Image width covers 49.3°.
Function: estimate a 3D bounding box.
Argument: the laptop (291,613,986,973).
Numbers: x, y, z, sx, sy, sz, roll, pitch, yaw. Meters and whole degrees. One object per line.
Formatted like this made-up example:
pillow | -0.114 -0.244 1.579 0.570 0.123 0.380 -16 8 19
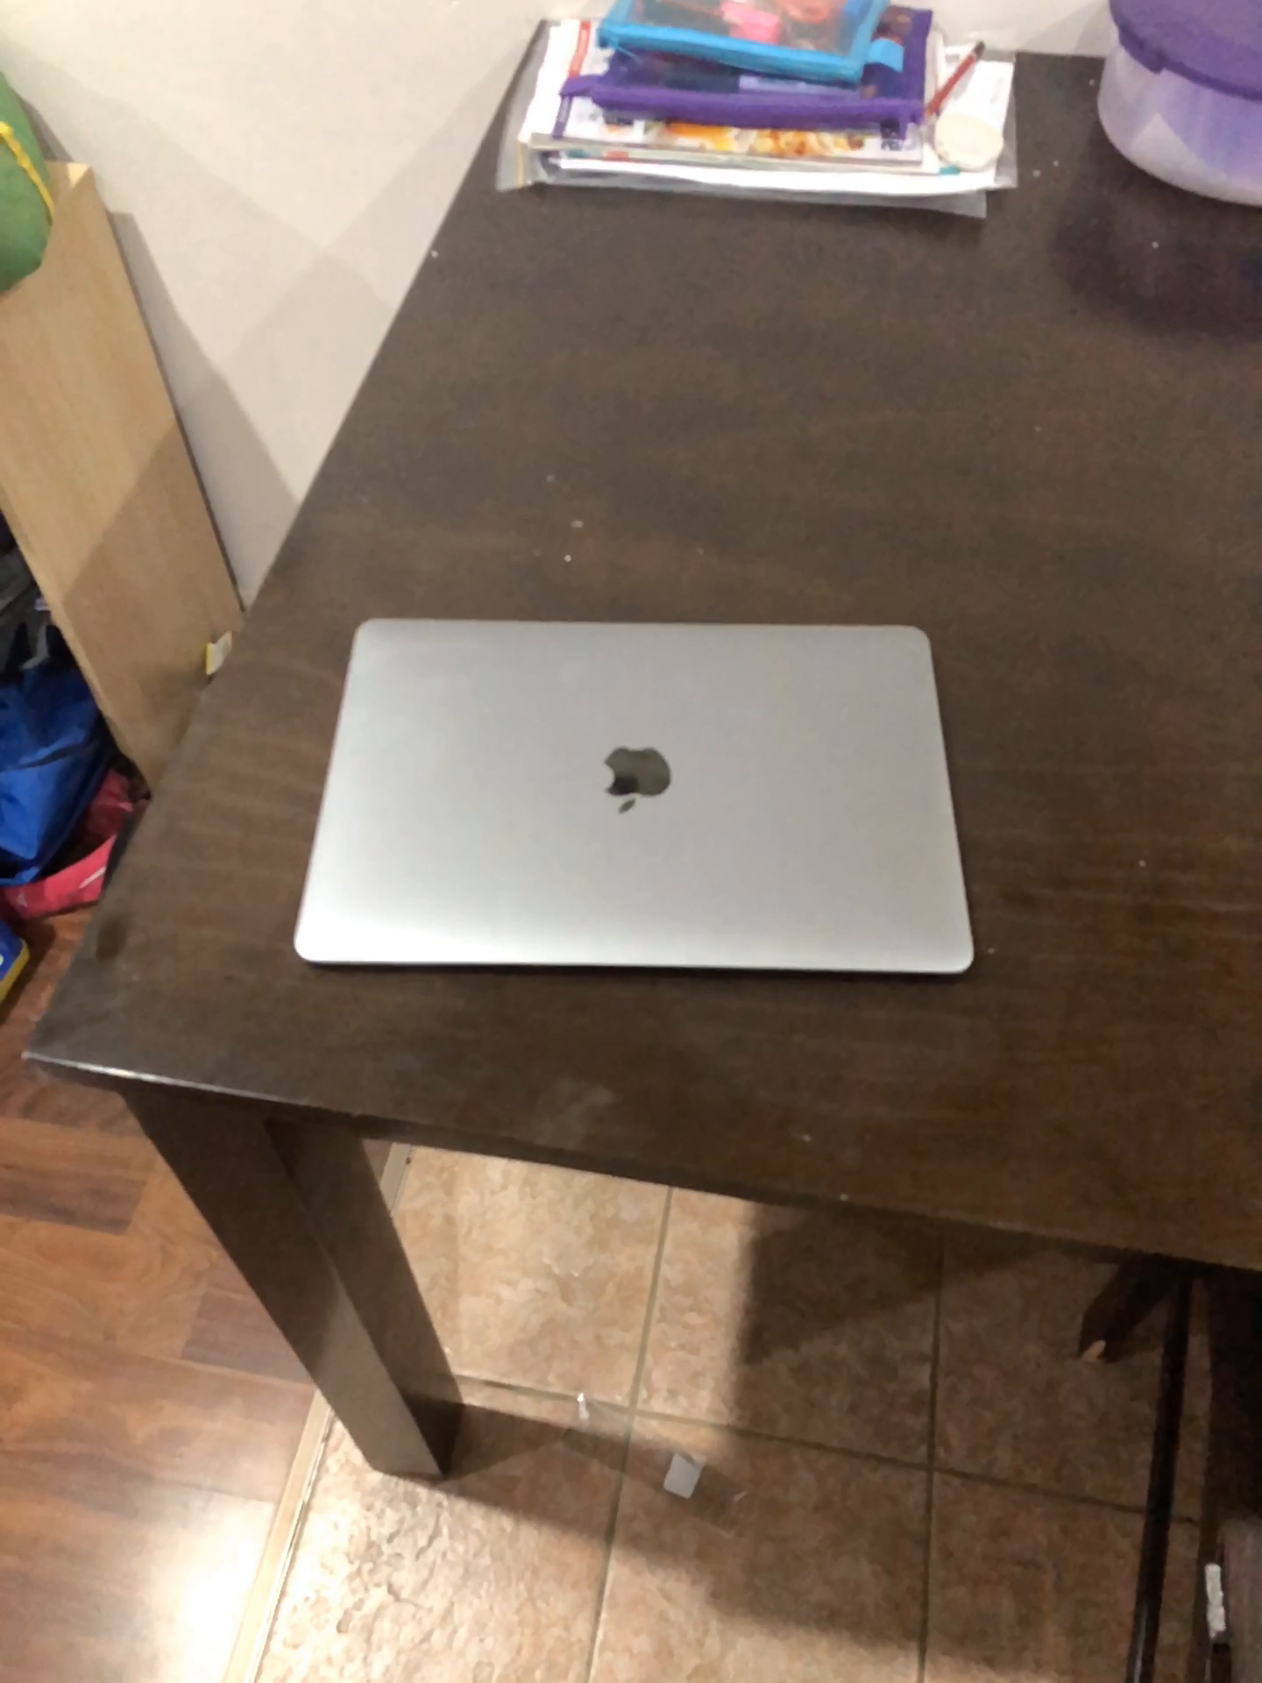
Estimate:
laptop | 0.006 -0.028 0.604 0.275 0.002 0.196 1 53 -1
